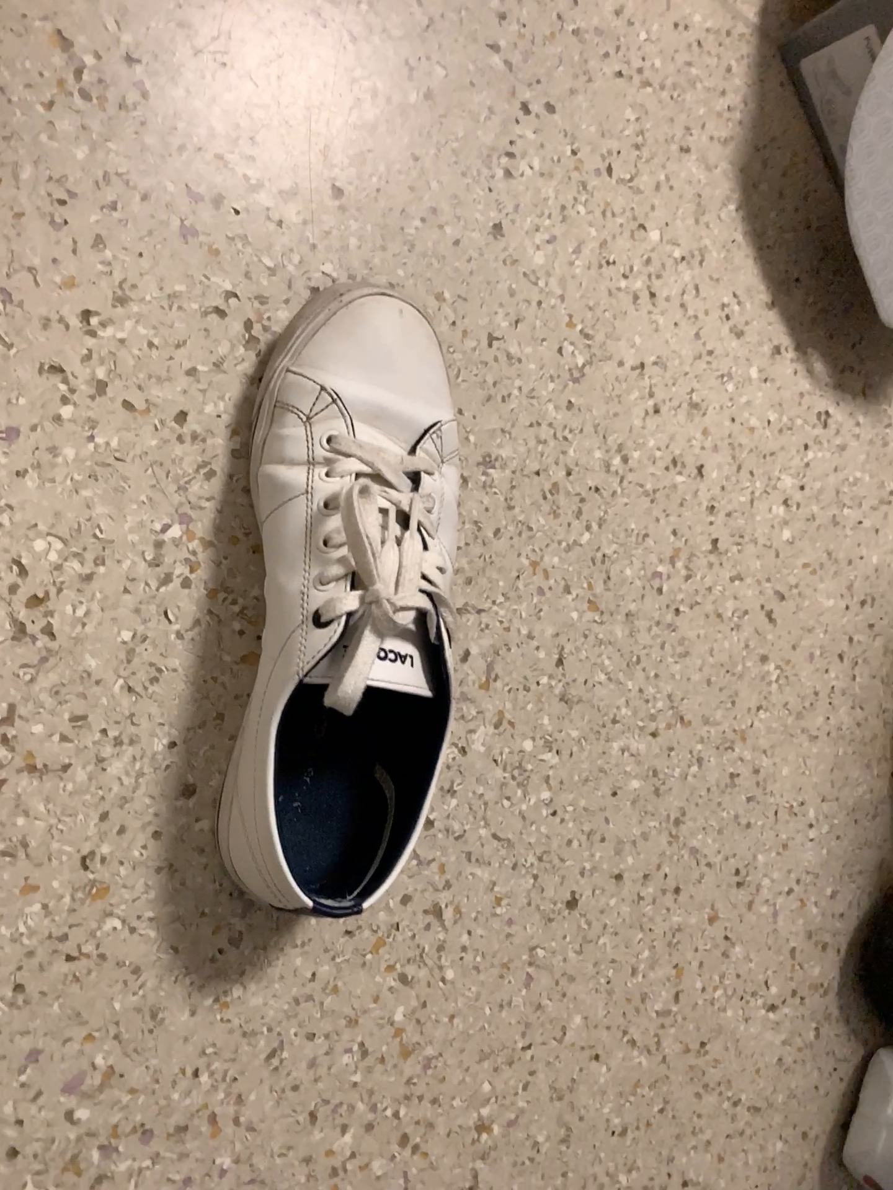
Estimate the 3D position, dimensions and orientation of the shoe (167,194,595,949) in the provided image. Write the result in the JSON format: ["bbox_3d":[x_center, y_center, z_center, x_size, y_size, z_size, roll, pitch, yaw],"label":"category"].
[{"bbox_3d":[-0.026,-0.004,0.362,0.100,0.090,0.250,12,84,-30],"label":"shoe"}]
